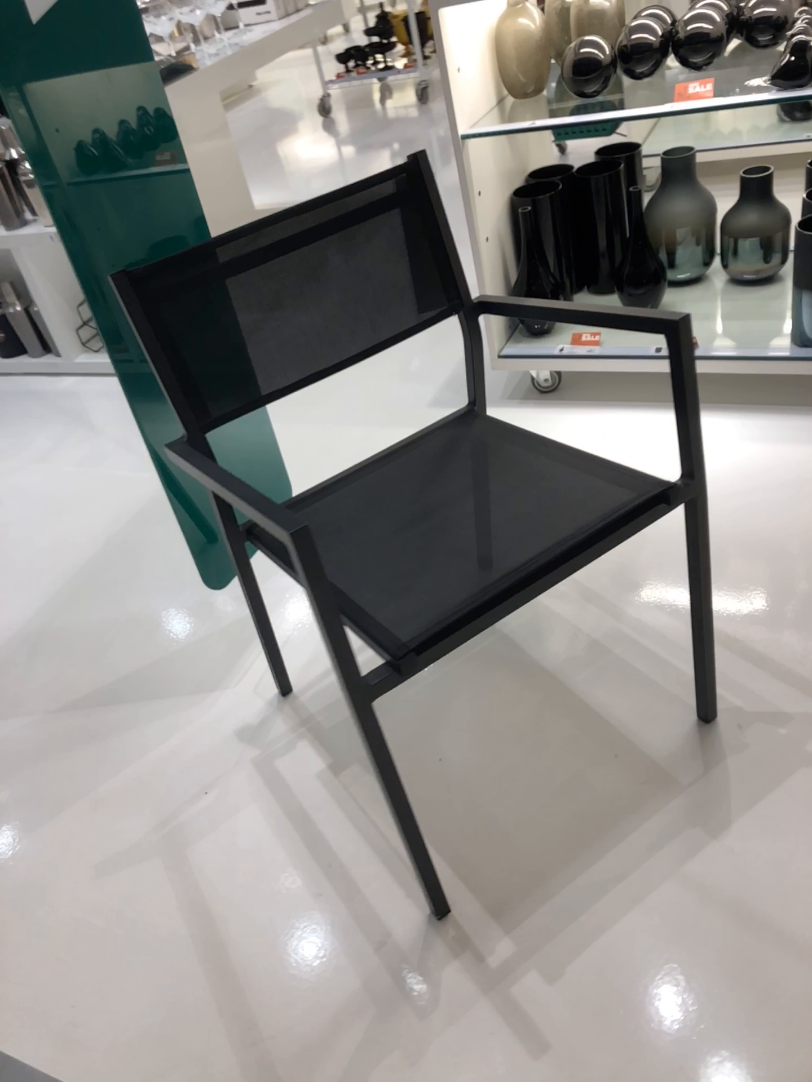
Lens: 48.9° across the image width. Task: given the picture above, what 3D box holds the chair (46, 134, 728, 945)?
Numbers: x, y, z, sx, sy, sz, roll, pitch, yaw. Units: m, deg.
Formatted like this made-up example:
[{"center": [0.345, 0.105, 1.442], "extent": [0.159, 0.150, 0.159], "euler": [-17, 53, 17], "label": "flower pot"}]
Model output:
[{"center": [0.012, -0.042, 1.256], "extent": [0.571, 0.794, 0.604], "euler": [-30, 38, -19], "label": "chair"}]
